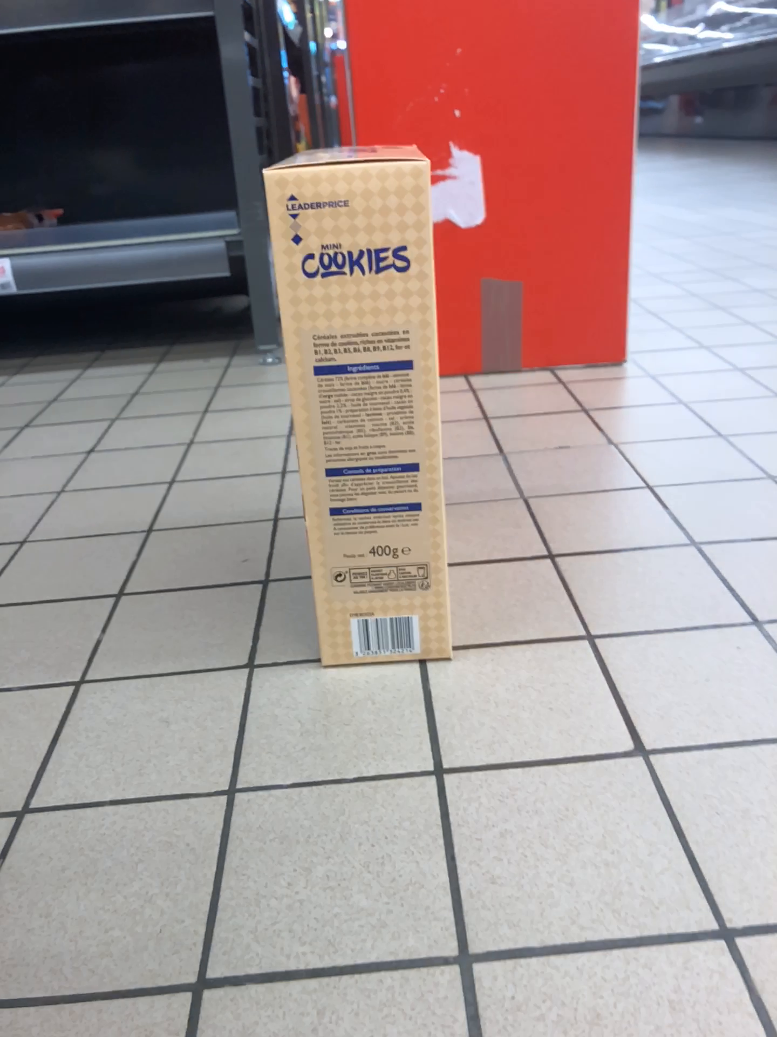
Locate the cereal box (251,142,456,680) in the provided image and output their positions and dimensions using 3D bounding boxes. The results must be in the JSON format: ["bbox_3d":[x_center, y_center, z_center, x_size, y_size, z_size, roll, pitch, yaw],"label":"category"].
[{"bbox_3d":[-0.014,-0.078,0.533,0.080,0.279,0.201,-5,24,0],"label":"cereal box"}]
